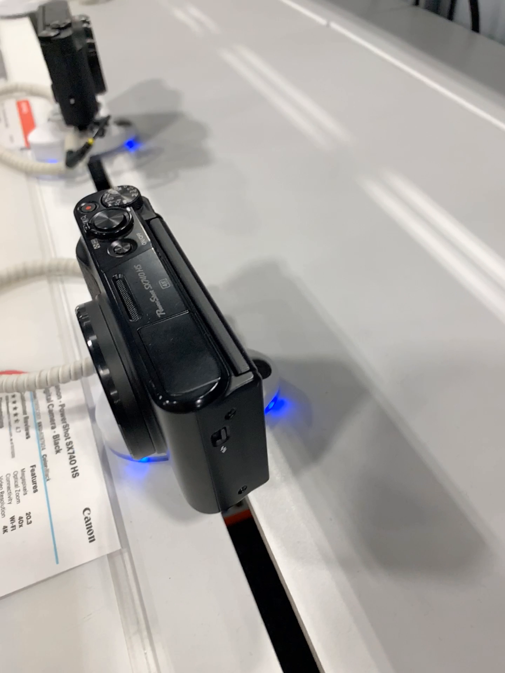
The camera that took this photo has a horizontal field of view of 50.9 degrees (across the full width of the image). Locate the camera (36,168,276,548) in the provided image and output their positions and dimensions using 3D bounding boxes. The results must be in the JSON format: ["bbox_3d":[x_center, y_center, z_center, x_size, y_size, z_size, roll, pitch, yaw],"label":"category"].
[{"bbox_3d":[-0.037,0.001,0.192,0.041,0.064,0.121,-20,49,-14],"label":"camera"}]
